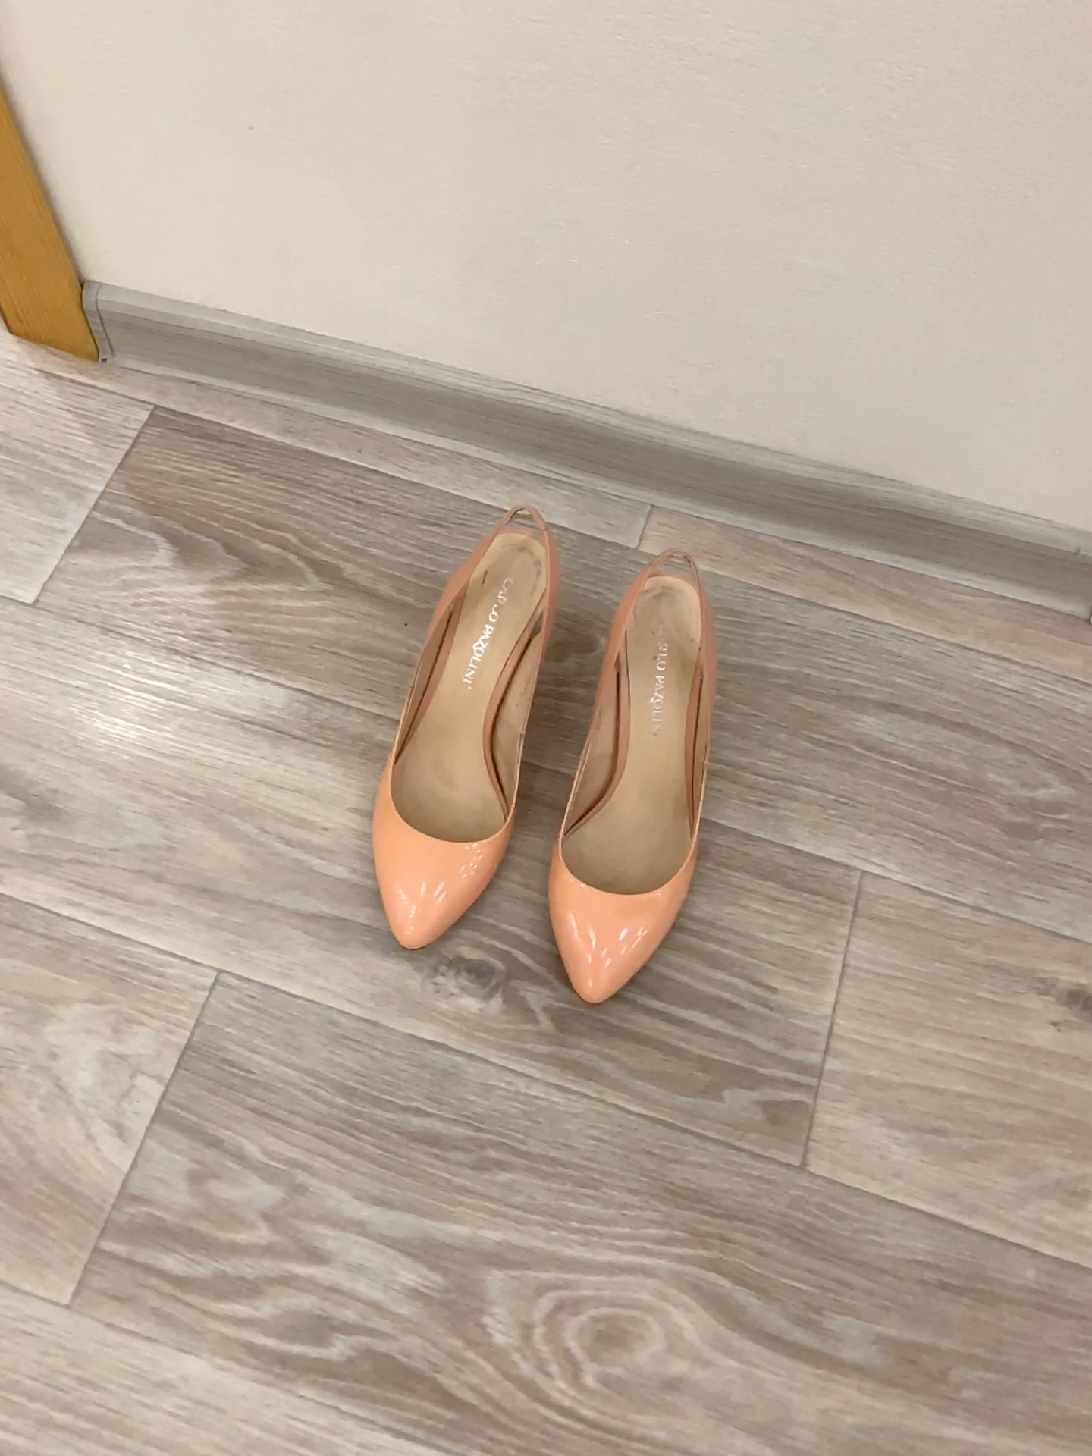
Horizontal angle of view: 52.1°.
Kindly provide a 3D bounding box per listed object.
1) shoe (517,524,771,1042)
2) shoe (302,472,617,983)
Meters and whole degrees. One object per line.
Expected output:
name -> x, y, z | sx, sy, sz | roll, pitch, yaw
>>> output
shoe -> 0.053, 0.030, 0.604 | 0.090, 0.120, 0.241 | 10, 64, 1
shoe -> -0.040, -0.001, 0.618 | 0.090, 0.120, 0.241 | 16, 65, 4
